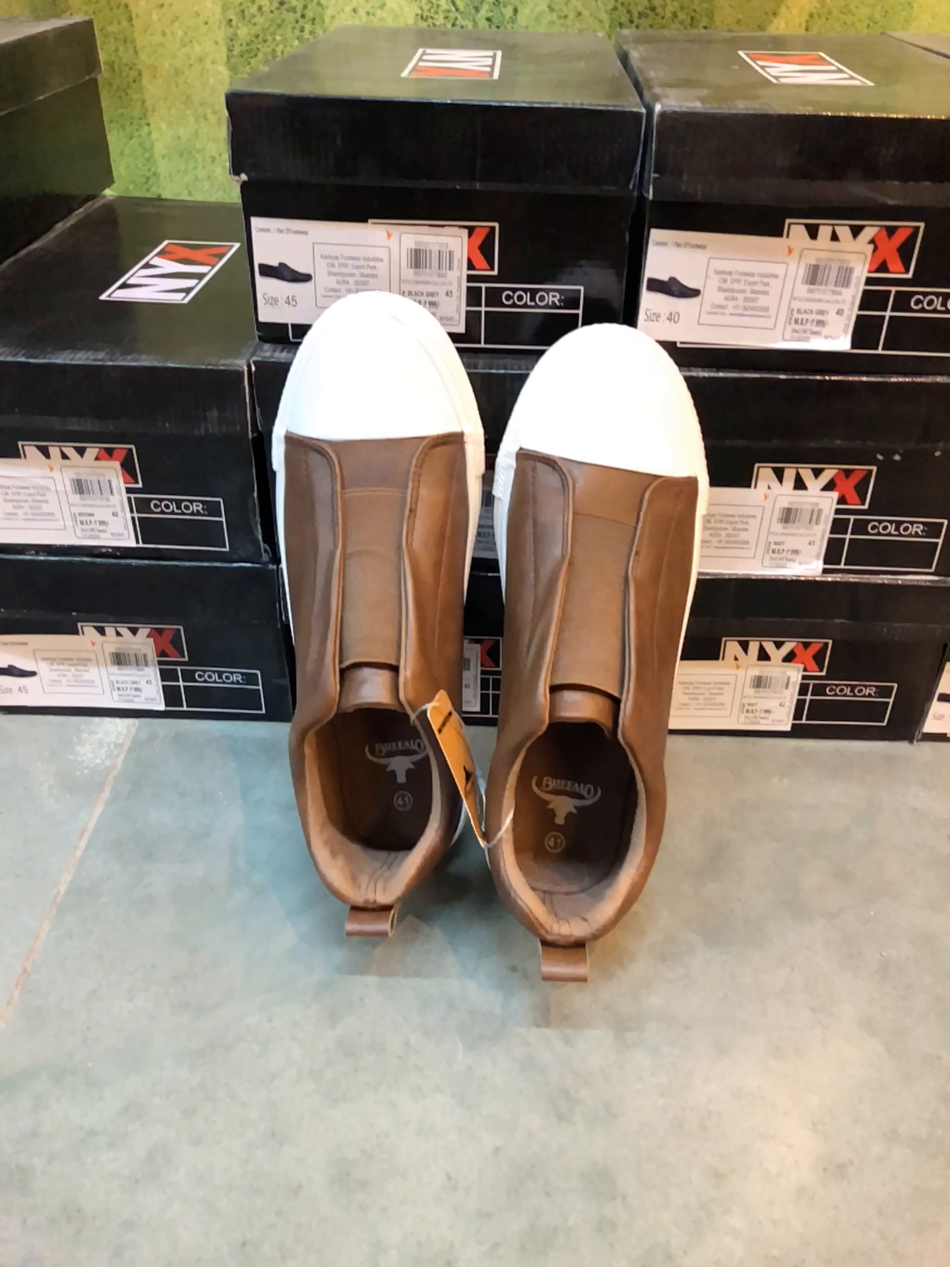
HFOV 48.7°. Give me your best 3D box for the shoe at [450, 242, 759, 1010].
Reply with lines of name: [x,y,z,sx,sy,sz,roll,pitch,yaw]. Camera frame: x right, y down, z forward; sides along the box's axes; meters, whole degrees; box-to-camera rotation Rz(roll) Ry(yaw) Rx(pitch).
shoe: [0.050,-0.004,0.428,0.096,0.272,0.100,3,-2,3]

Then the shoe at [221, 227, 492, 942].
shoe: [-0.044,-0.019,0.448,0.098,0.270,0.103,1,-1,0]
